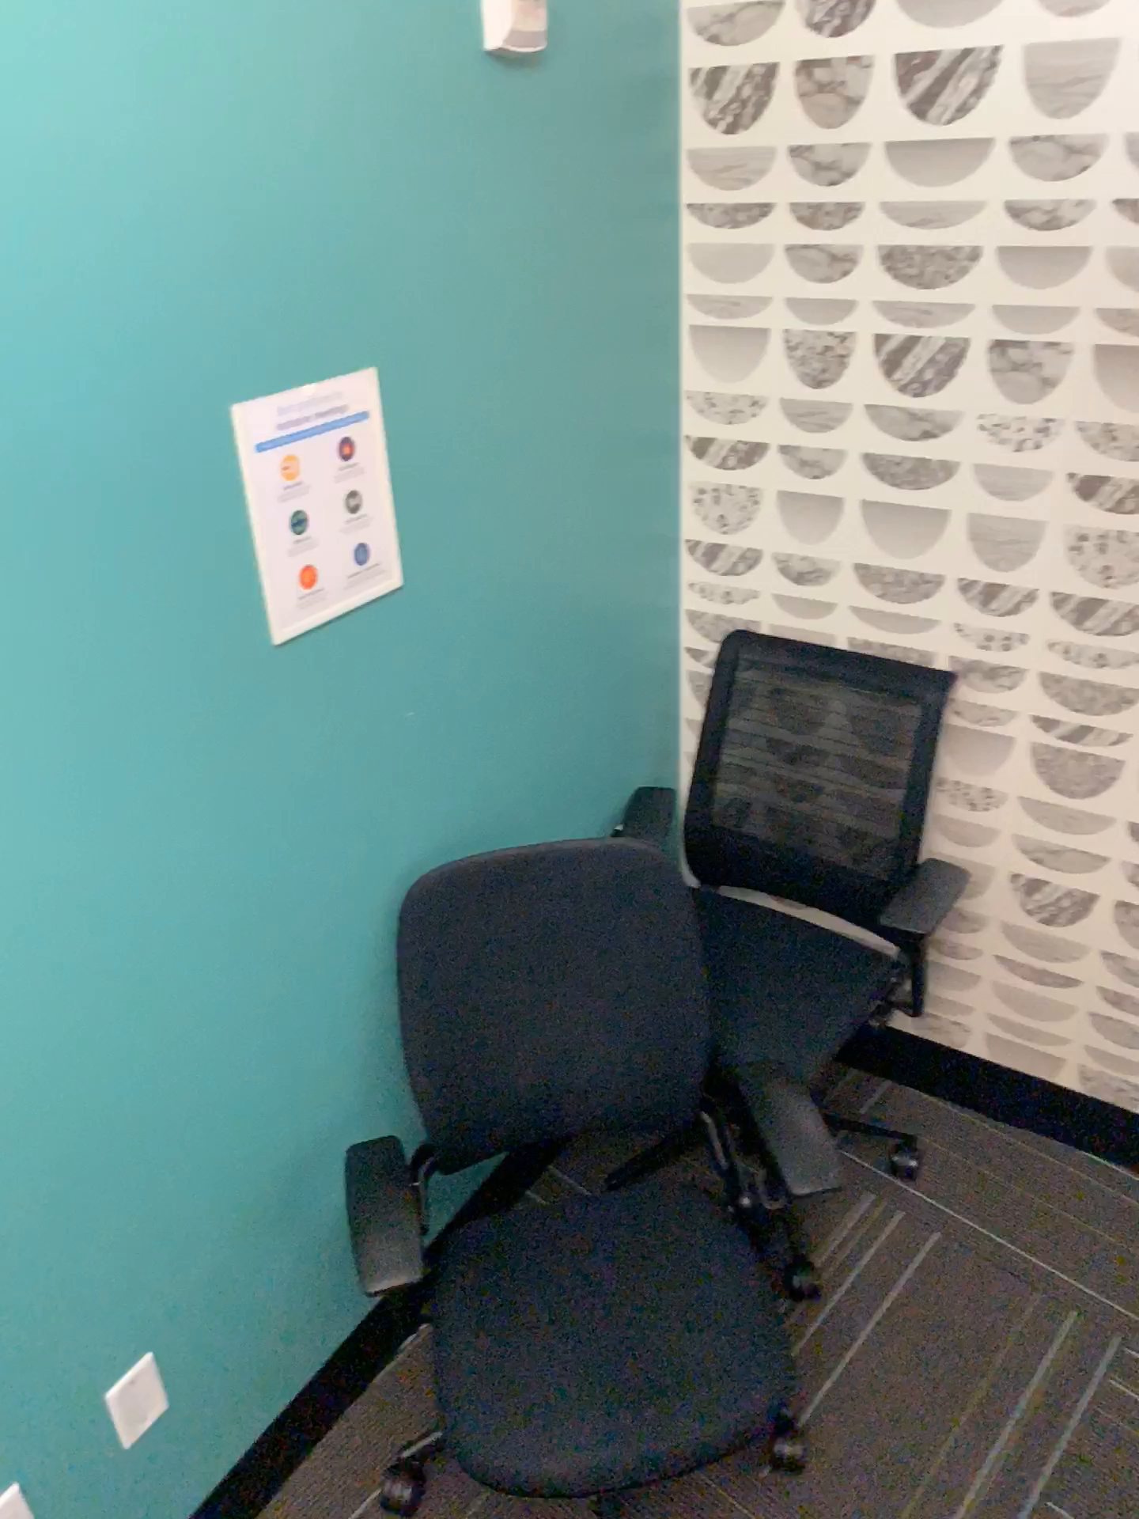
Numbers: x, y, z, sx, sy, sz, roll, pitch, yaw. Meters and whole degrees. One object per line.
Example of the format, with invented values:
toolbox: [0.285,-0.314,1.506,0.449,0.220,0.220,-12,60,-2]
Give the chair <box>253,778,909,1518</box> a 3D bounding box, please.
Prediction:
chair: [-0.021,0.667,1.700,0.660,0.945,0.774,-7,28,-8]
